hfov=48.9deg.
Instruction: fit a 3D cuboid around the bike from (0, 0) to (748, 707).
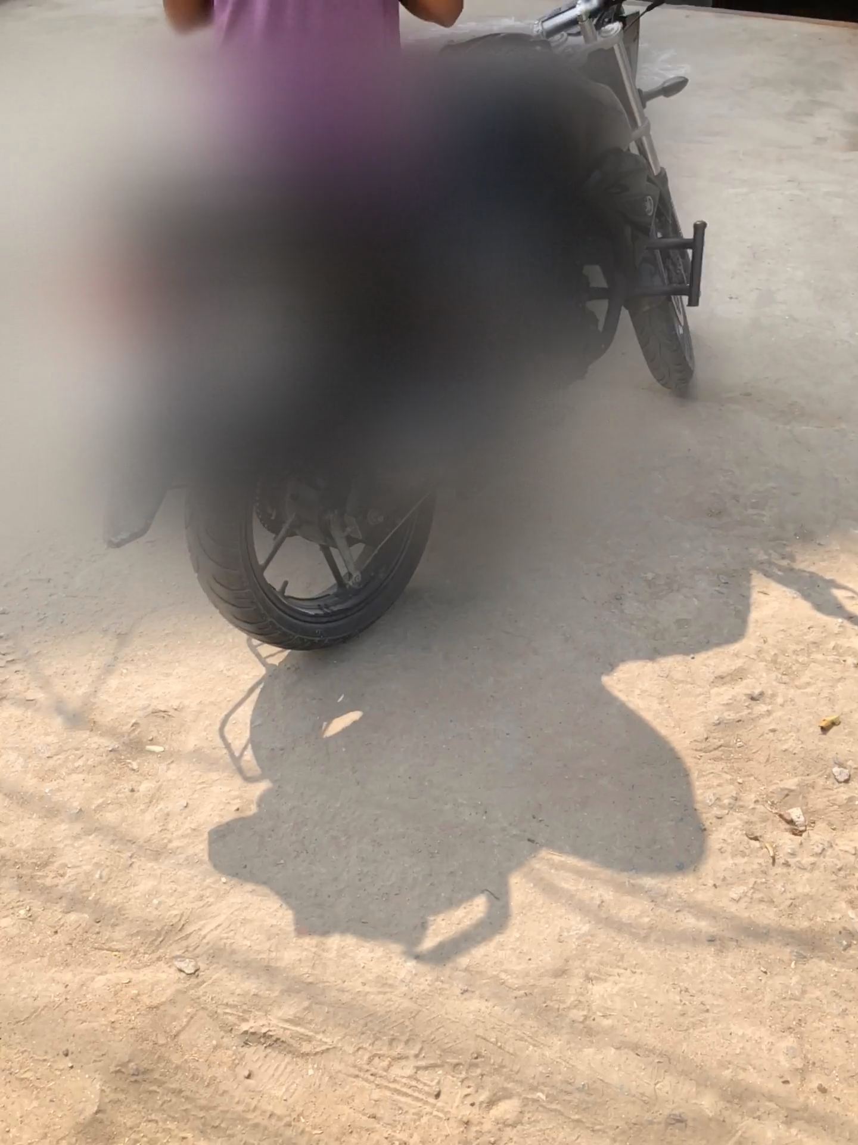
[{"bbox_3d":[-0.014,-0.775,1.974,0.683,0.959,1.697,22,48,23],"label":"bike"}]
